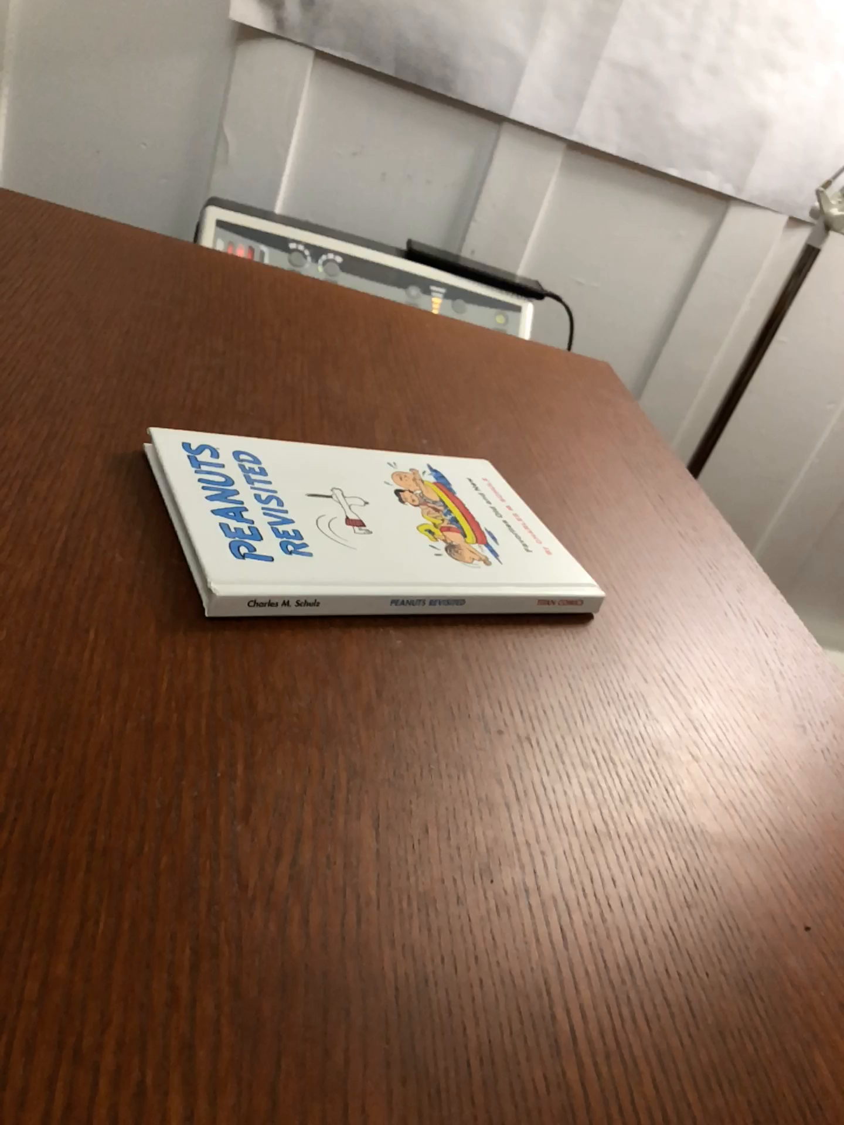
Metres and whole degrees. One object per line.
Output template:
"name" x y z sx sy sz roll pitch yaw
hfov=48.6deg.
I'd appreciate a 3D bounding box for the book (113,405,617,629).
"book" -0.029 -0.024 0.474 0.221 0.020 0.151 1 35 -31
